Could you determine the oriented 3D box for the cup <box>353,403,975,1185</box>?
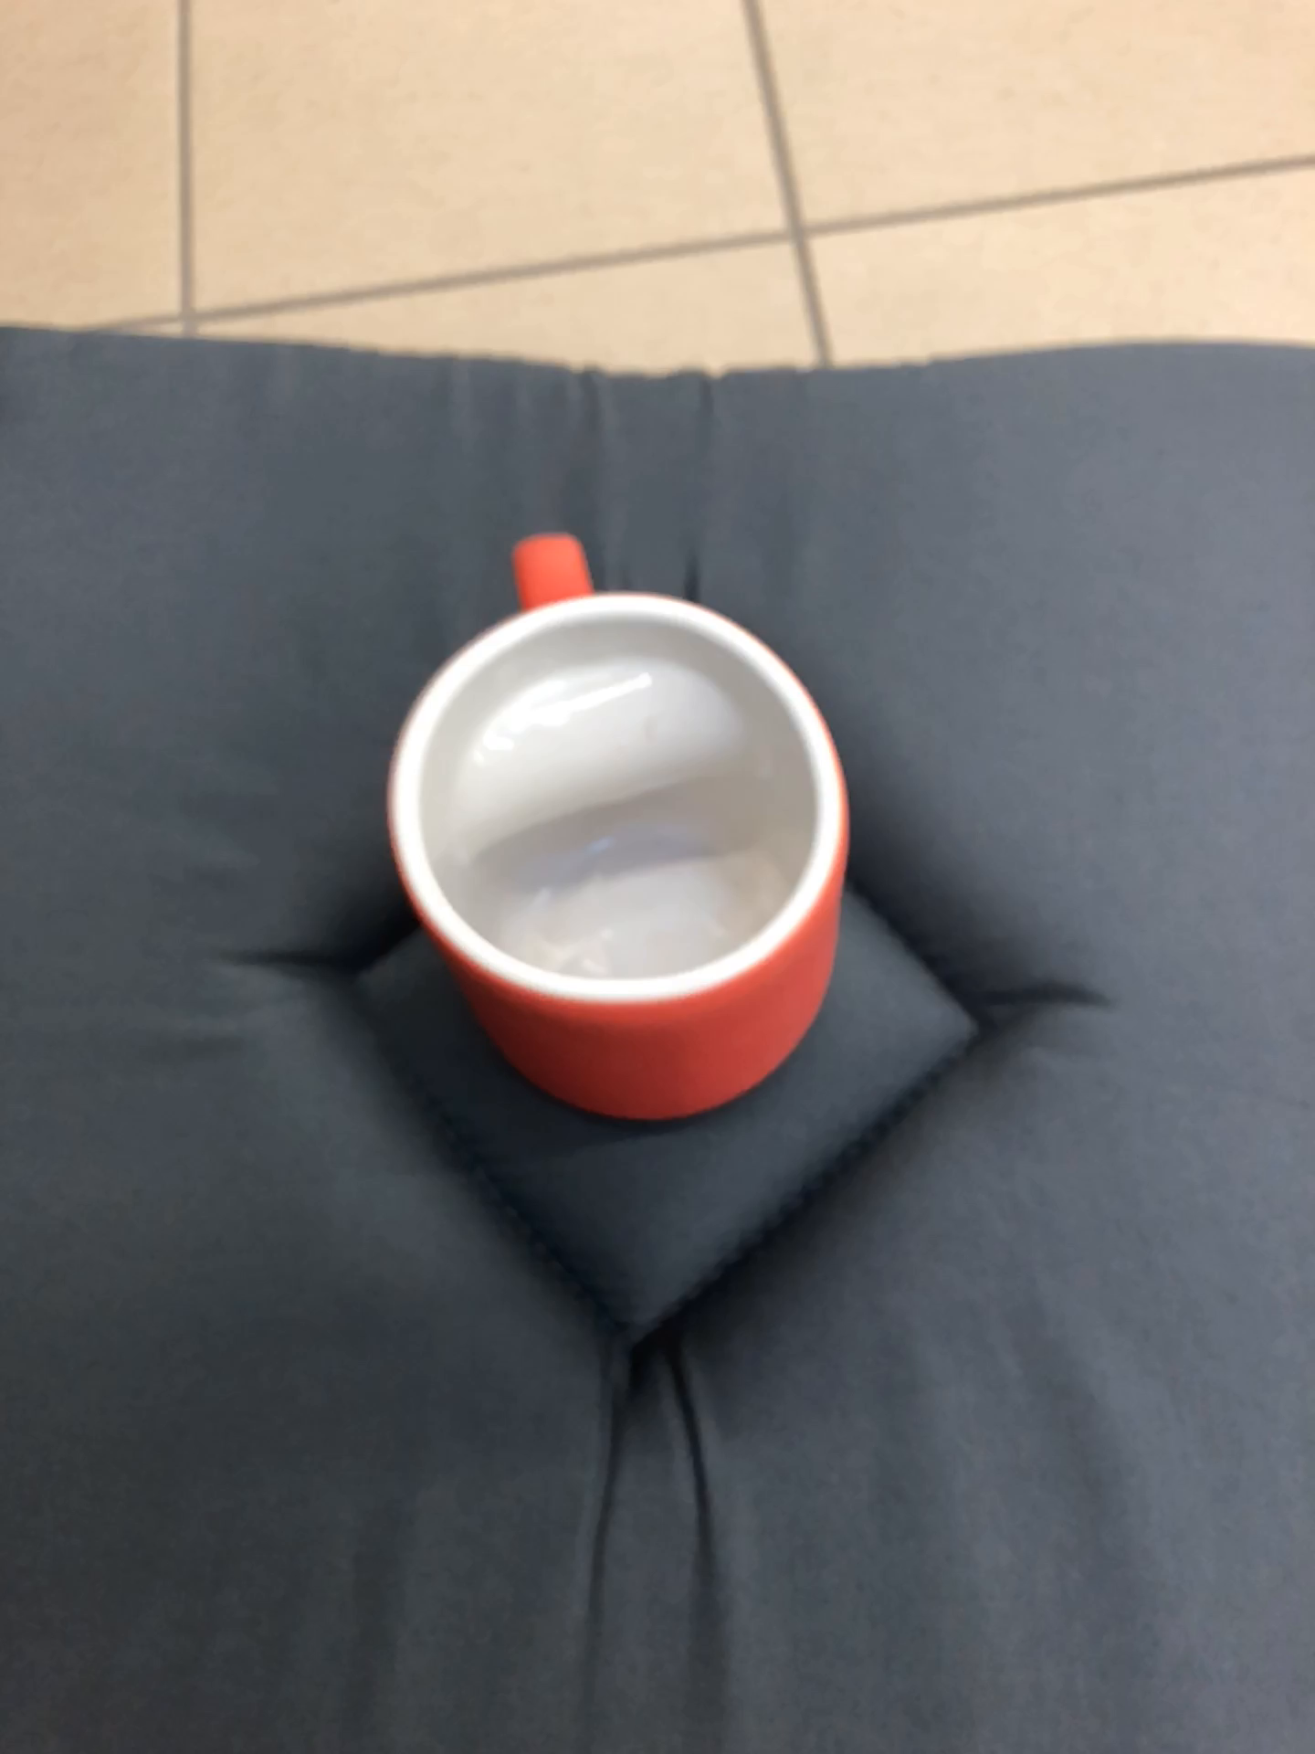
[{"bbox_3d":[-0.001,-0.012,0.304,0.090,0.090,0.120,-11,69,-1],"label":"cup"}]
